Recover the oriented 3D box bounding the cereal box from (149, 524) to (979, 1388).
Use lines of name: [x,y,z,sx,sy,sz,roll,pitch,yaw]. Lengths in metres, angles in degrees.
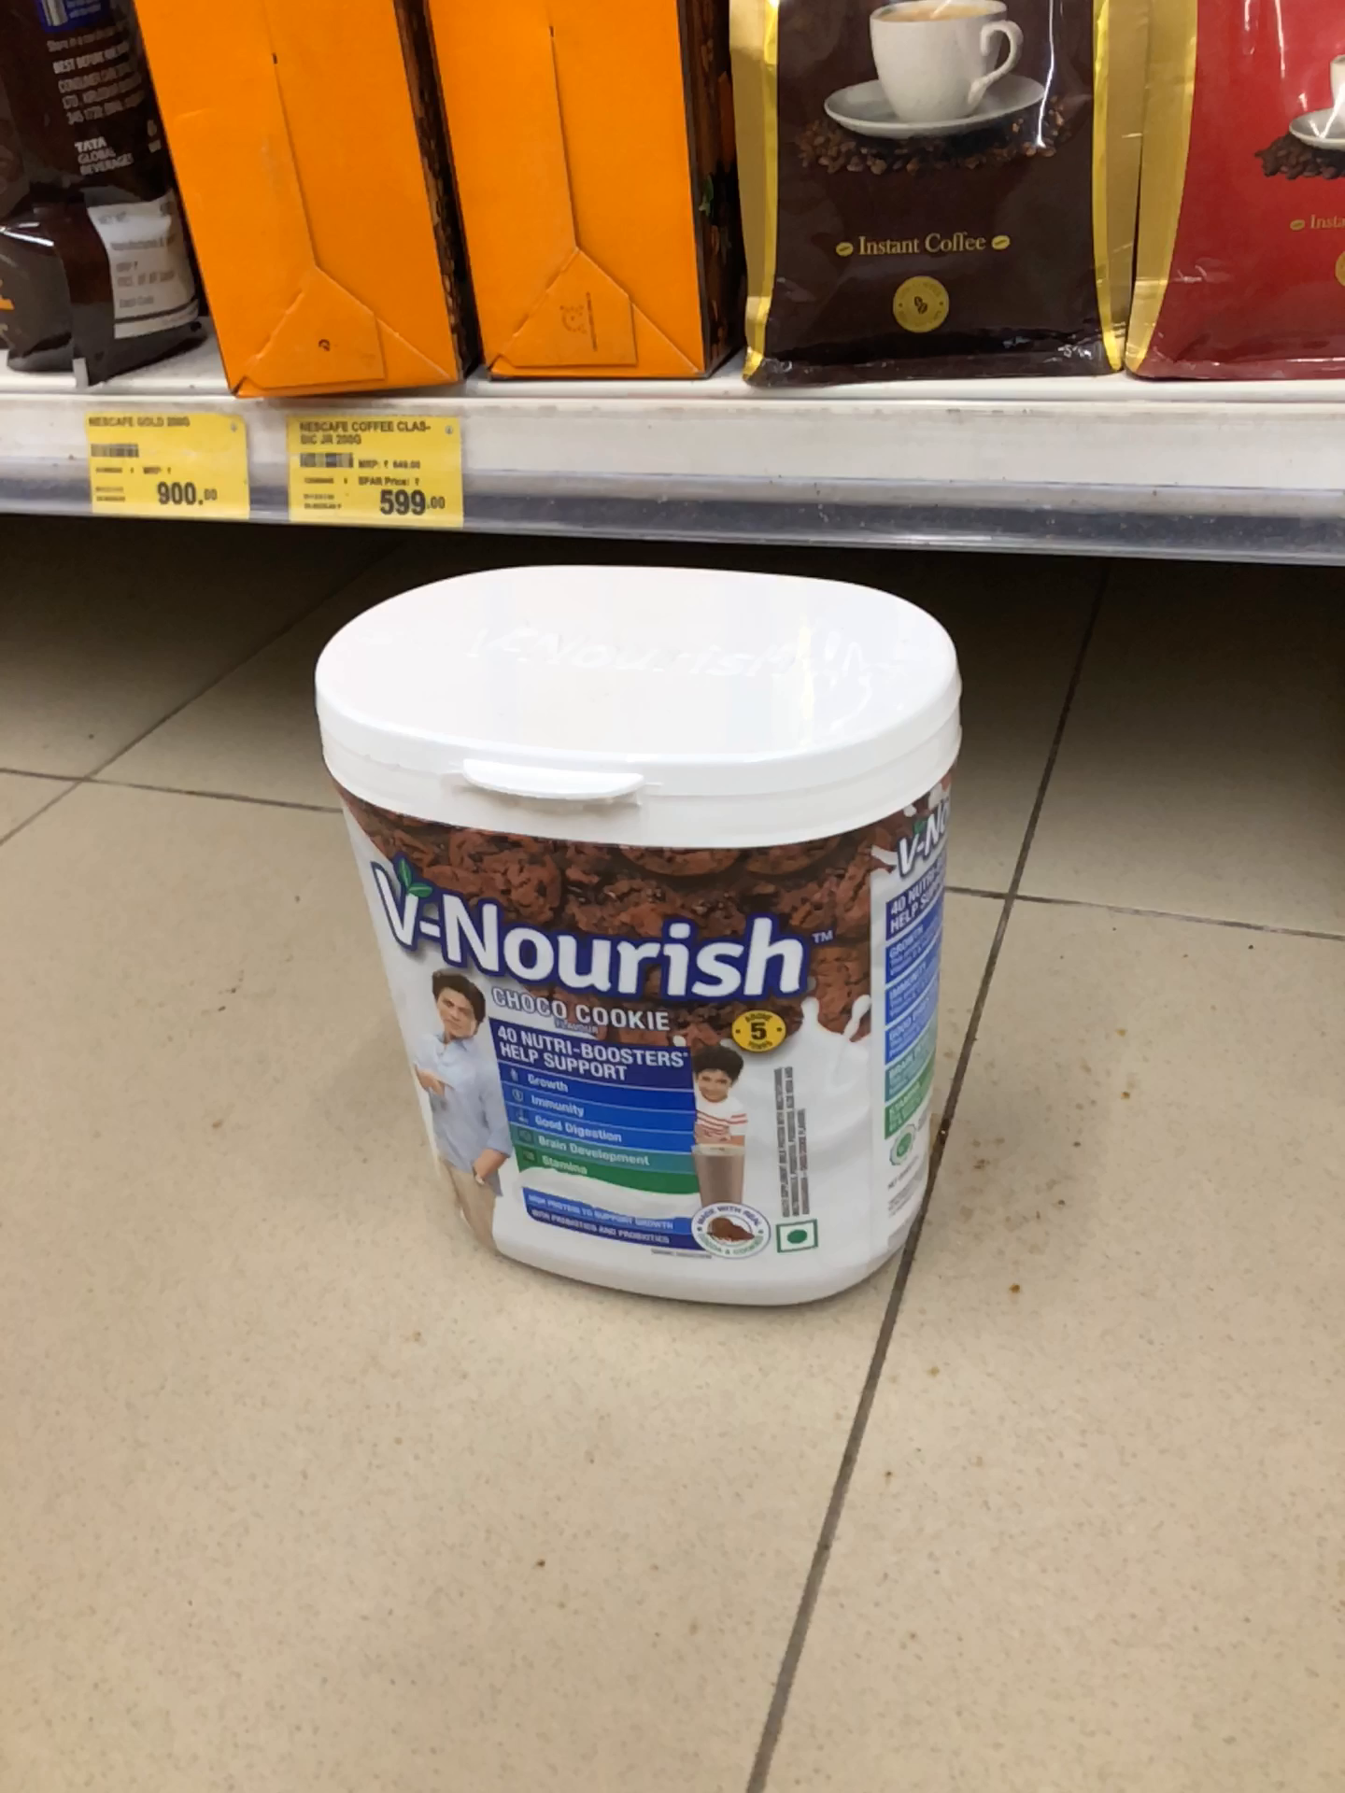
cereal box: [-0.011,0.008,0.339,0.140,0.149,0.101,7,35,18]
